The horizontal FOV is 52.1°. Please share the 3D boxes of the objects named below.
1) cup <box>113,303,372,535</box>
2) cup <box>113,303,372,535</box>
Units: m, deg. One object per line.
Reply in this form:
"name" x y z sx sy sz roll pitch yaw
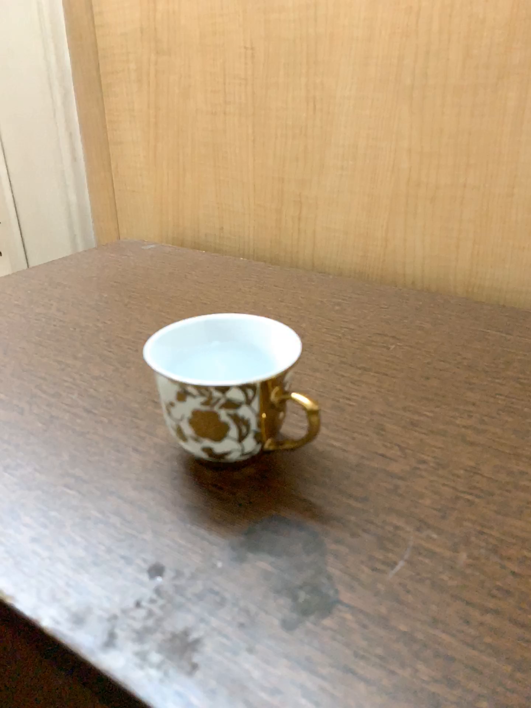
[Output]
"cup" -0.009 0.020 0.234 0.080 0.050 0.070 19 32 34
"cup" -0.009 0.020 0.234 0.080 0.050 0.070 19 32 34
